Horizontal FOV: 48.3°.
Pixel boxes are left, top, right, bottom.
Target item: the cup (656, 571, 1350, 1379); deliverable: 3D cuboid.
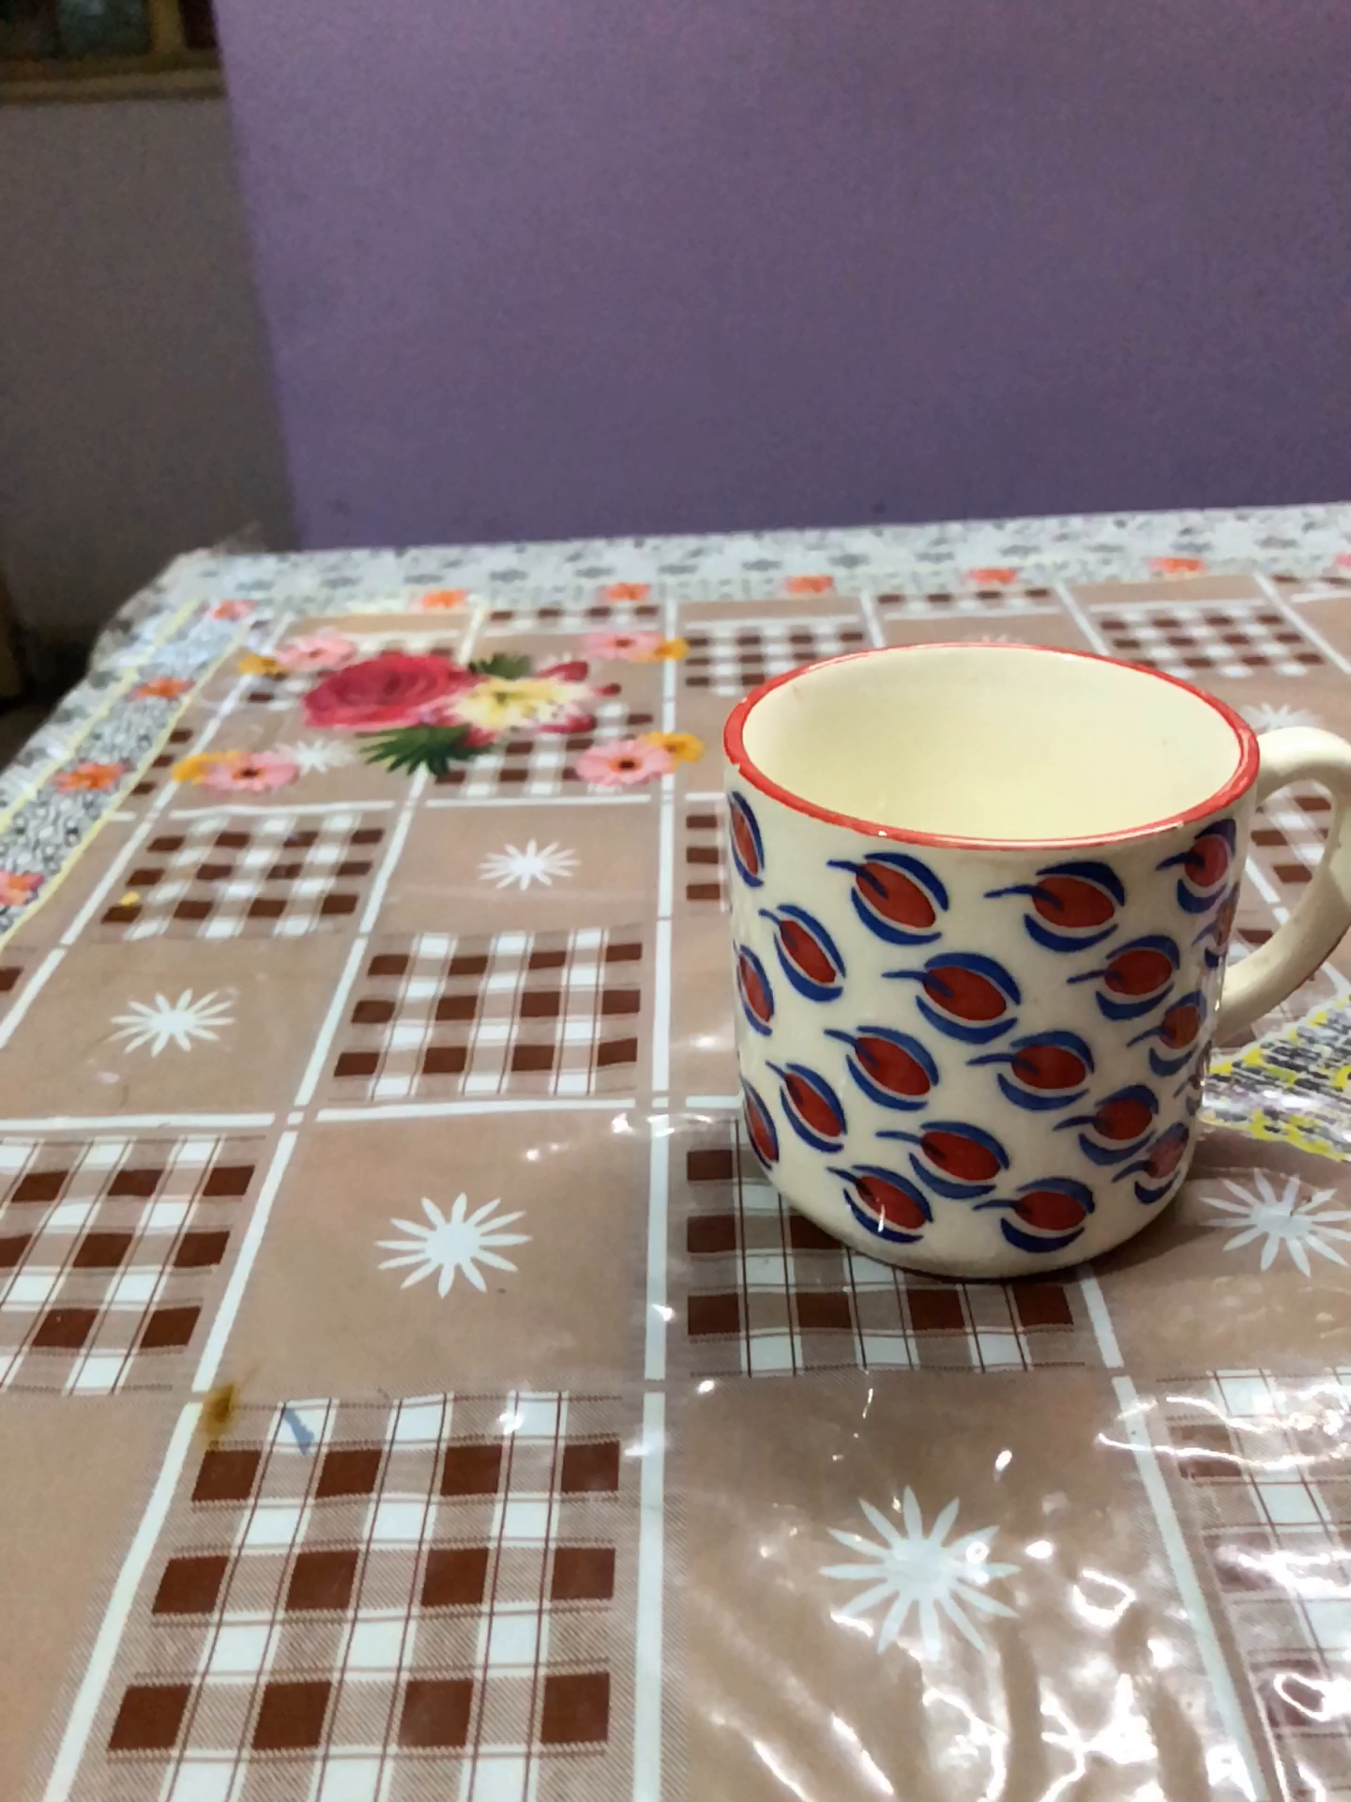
[{"bbox_3d":[0.061,0.005,0.235,0.110,0.079,0.080,-8,30,-10],"label":"cup"}]
